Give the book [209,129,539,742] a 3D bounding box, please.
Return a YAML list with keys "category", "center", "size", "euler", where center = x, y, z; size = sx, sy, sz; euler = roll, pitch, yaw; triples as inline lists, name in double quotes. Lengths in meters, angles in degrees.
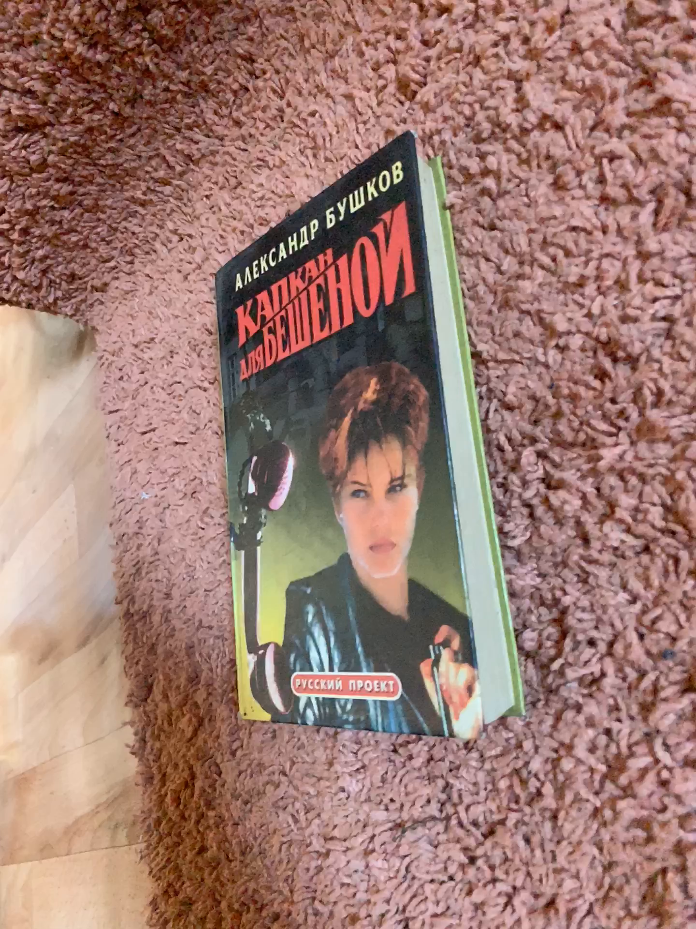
- category: "book"
  center: [-0.003, -0.003, 0.271]
  size: [0.125, 0.027, 0.190]
  euler: [-17, 74, 46]
